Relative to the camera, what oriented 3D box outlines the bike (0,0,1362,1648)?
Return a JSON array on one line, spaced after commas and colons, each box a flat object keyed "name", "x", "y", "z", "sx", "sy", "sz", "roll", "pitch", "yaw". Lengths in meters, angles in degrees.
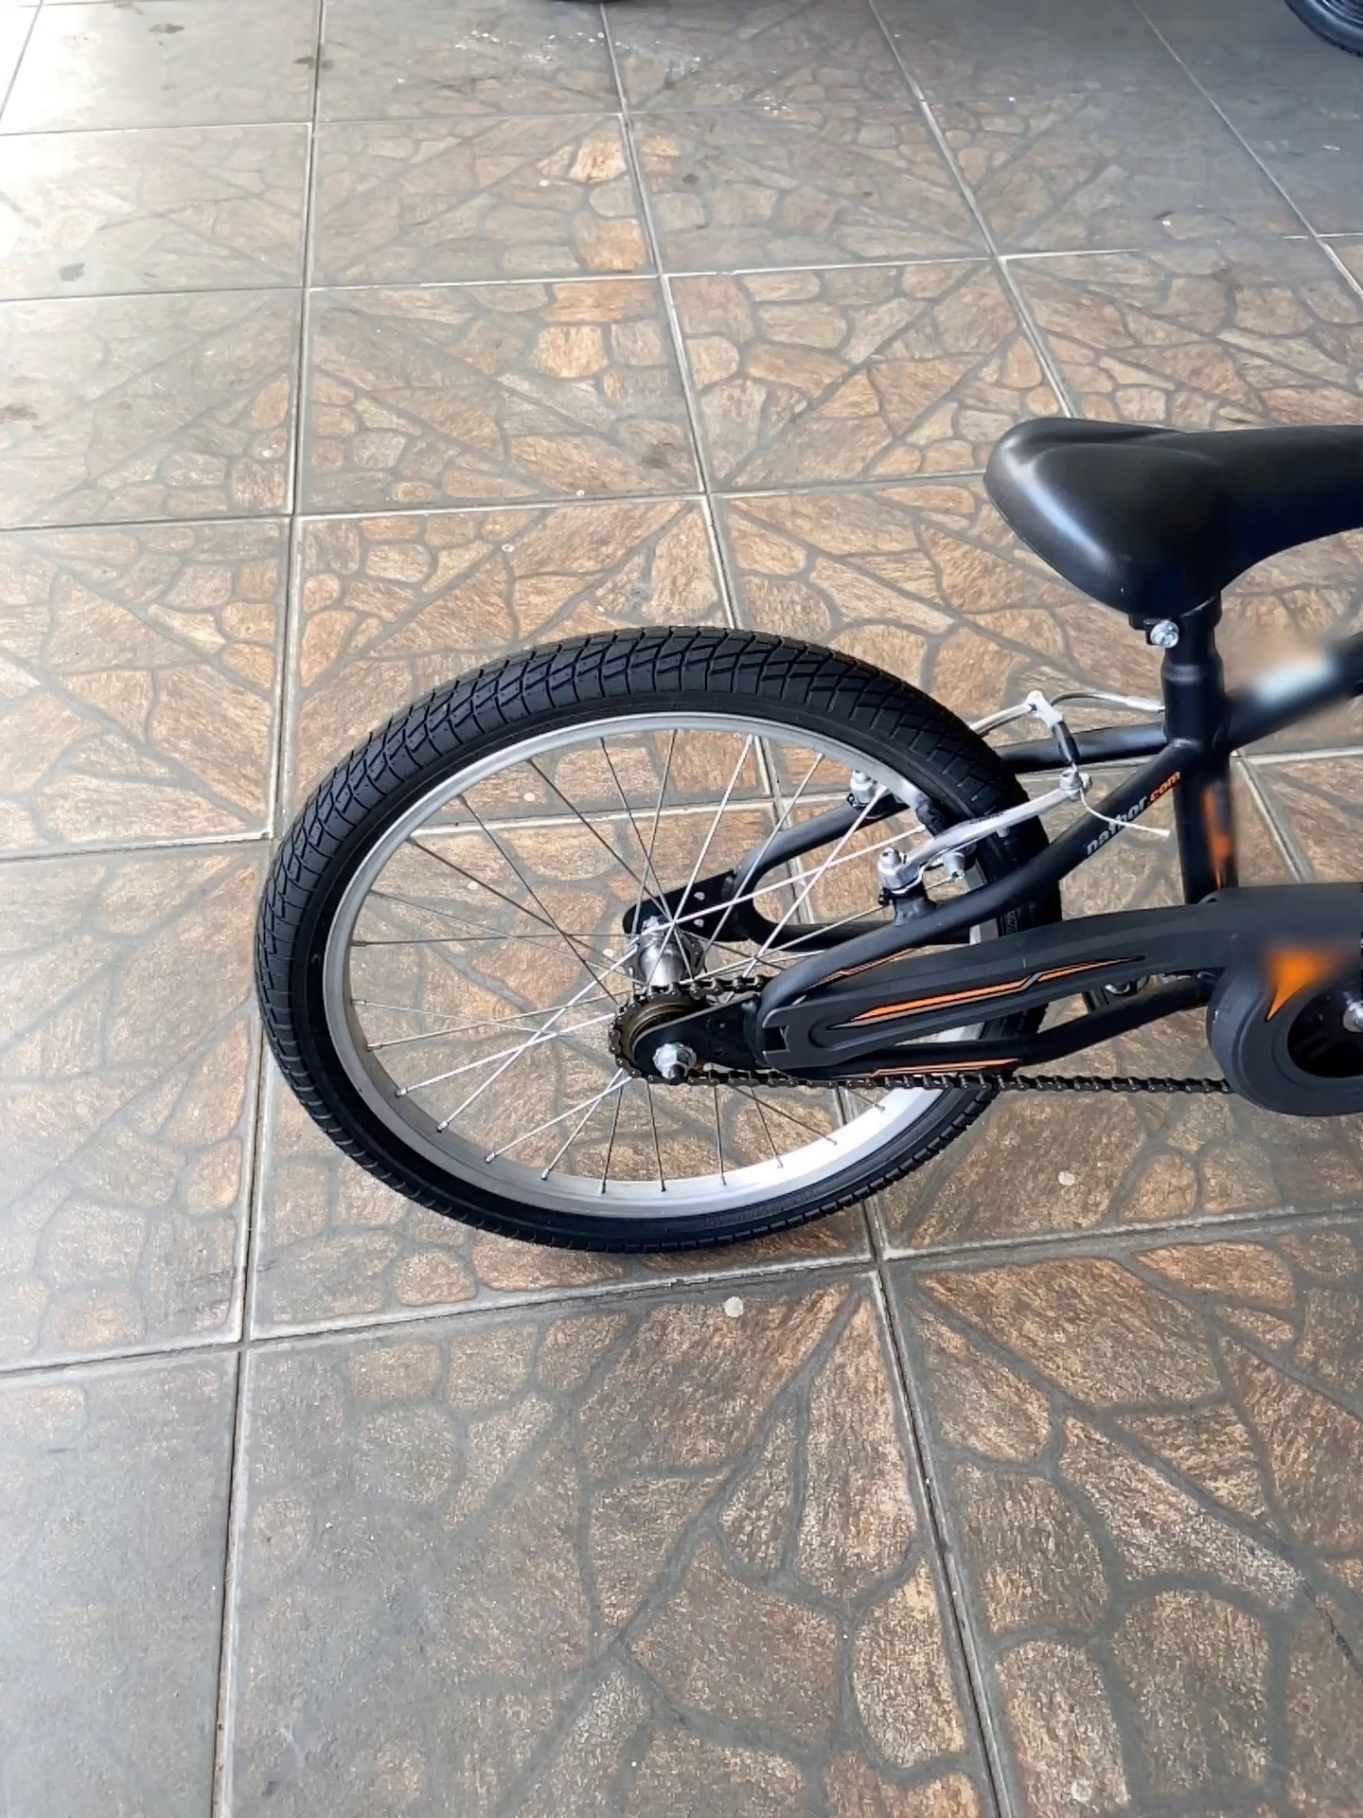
[{"name": "bike", "x": 0.397, "y": -0.227, "z": 0.845, "sx": 1.351, "sy": 0.979, "sz": 0.726, "roll": -9, "pitch": 54, "yaw": -11}]
